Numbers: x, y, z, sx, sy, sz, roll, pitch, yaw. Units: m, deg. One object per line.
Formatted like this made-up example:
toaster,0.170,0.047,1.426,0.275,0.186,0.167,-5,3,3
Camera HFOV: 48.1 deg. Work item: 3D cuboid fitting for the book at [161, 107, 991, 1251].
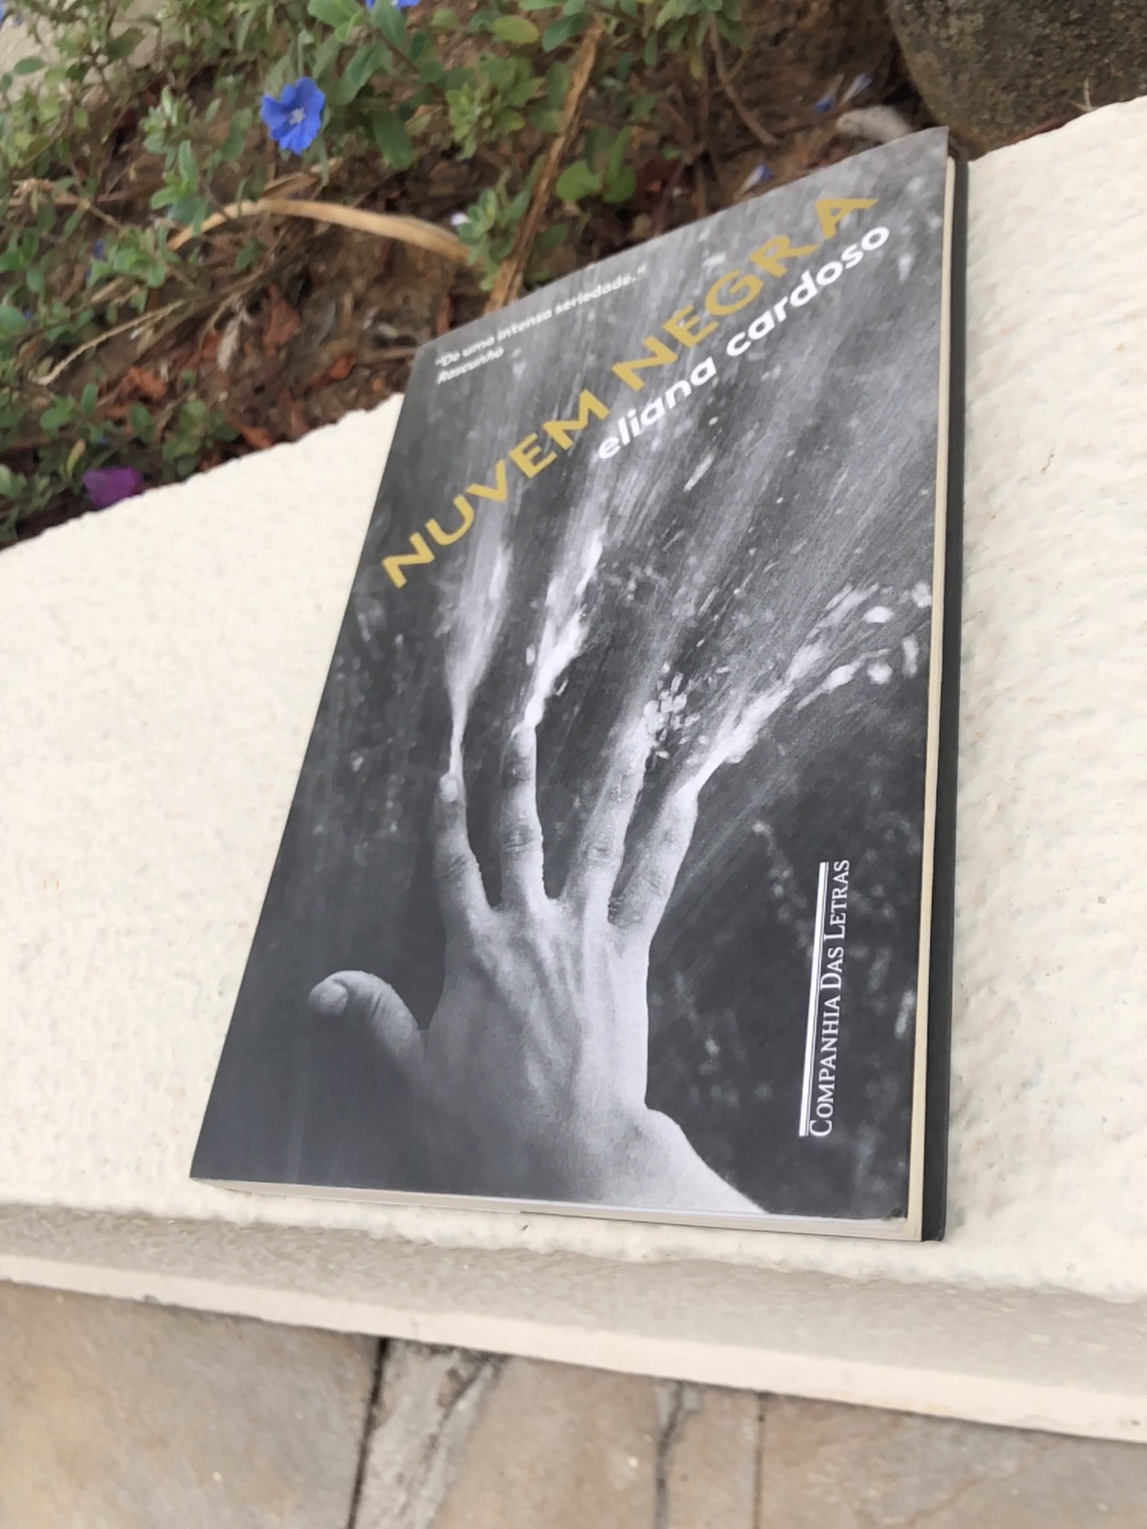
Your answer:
book,0.004,-0.023,0.239,0.141,0.013,0.201,-8,59,32
